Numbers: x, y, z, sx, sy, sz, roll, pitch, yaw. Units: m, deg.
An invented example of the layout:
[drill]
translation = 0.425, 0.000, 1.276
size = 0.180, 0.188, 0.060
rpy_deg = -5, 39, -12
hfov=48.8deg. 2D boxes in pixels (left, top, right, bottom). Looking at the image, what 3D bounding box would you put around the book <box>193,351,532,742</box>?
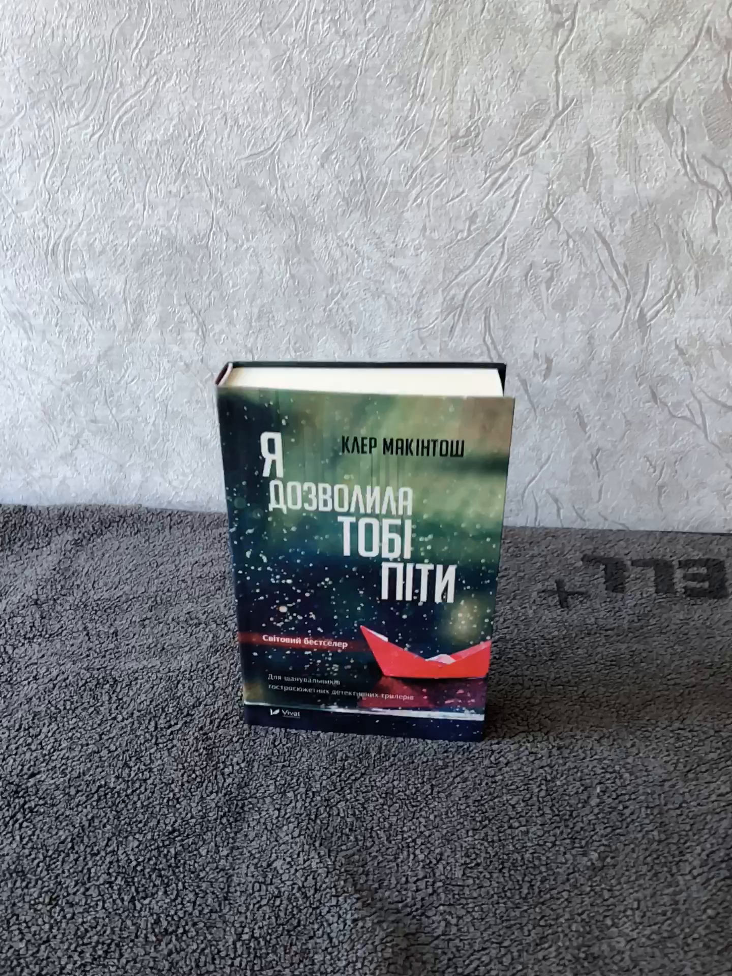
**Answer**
[book]
translation = -0.001, 0.036, 0.400
size = 0.139, 0.201, 0.044
rpy_deg = 0, 30, 1
